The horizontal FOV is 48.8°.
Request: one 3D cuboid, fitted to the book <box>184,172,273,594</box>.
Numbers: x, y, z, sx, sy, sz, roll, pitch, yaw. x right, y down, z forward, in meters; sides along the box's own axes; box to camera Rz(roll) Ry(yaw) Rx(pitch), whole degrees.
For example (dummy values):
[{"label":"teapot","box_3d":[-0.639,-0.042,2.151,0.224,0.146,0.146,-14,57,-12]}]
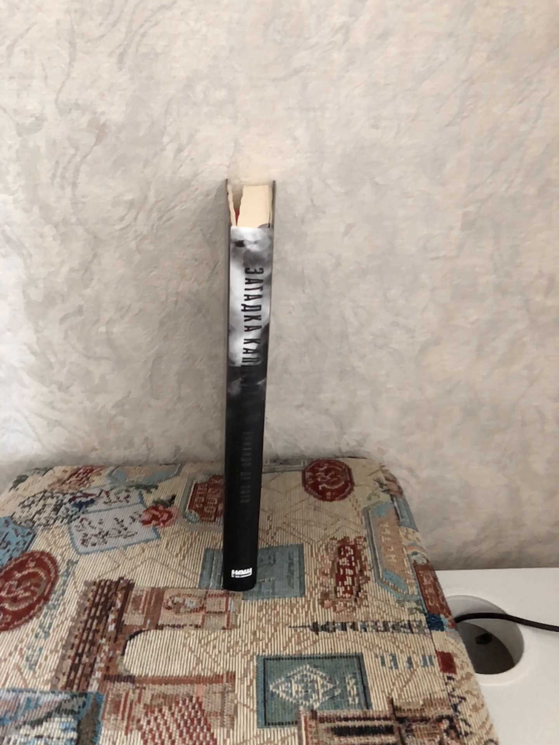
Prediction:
[{"label":"book","box_3d":[-0.024,0.000,0.355,0.035,0.200,0.138,1,27,-1]}]
